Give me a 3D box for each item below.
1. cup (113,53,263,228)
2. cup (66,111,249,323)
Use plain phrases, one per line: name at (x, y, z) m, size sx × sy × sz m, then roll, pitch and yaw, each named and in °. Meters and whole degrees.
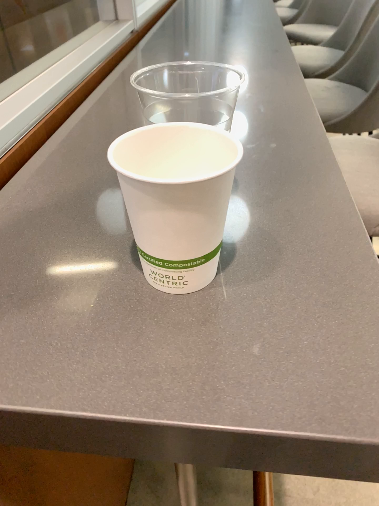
cup at (0.004, -0.102, 0.350) m, size 0.100 × 0.119 × 0.080 m, roll 10°, pitch 41°, yaw 15°
cup at (-0.013, -0.029, 0.284) m, size 0.090 × 0.109 × 0.090 m, roll -2°, pitch 39°, yaw 1°
